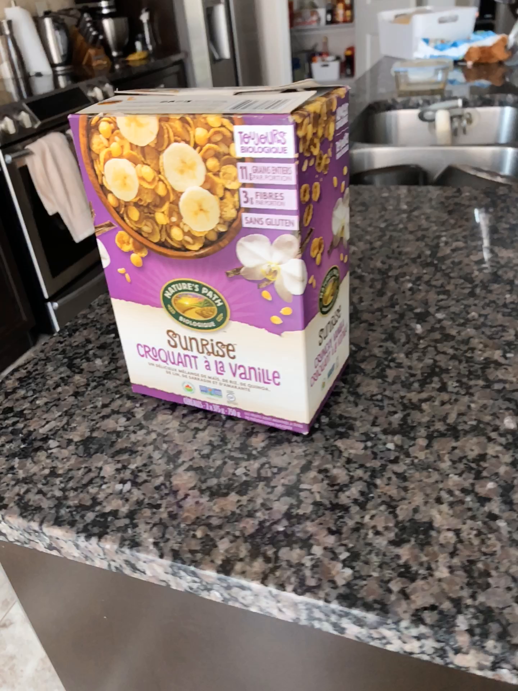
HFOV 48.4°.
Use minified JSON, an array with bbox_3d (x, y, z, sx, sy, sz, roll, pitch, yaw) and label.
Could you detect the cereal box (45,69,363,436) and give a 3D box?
[{"bbox_3d":[-0.024,-0.073,0.441,0.180,0.229,0.110,10,35,24],"label":"cereal box"}]
